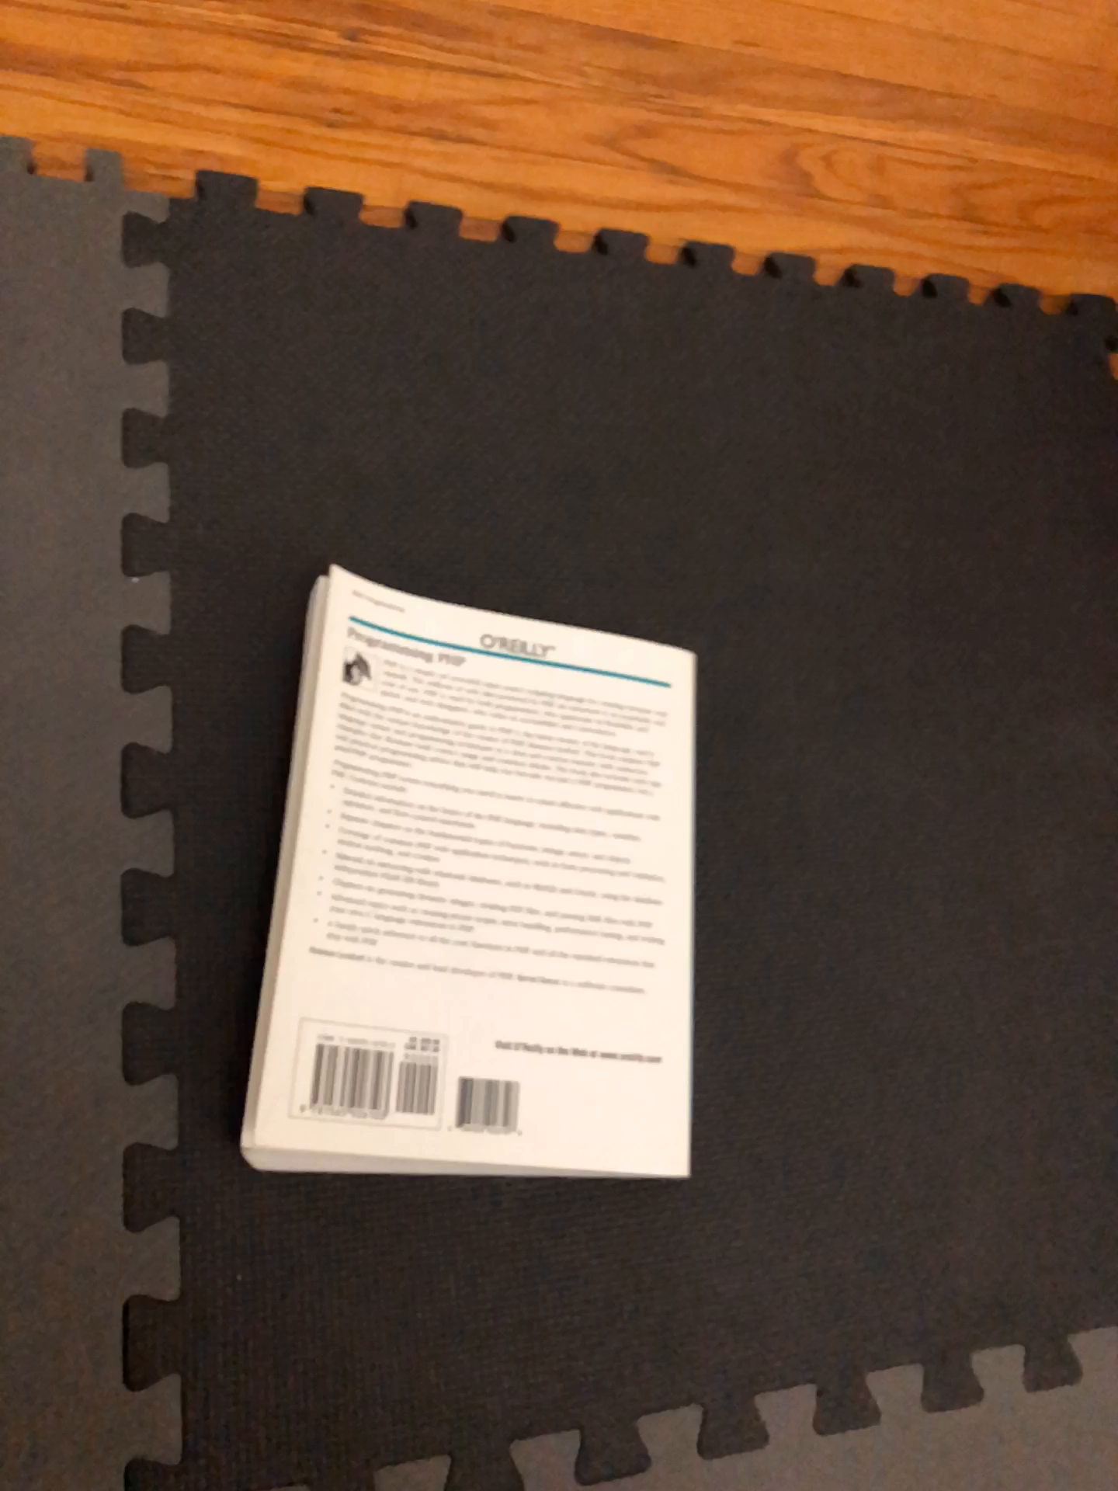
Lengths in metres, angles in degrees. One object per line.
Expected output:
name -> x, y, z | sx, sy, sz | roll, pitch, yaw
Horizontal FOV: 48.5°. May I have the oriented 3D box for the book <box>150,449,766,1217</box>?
book -> -0.028, 0.036, 0.518 | 0.230, 0.040, 0.291 | 9, 70, -17
